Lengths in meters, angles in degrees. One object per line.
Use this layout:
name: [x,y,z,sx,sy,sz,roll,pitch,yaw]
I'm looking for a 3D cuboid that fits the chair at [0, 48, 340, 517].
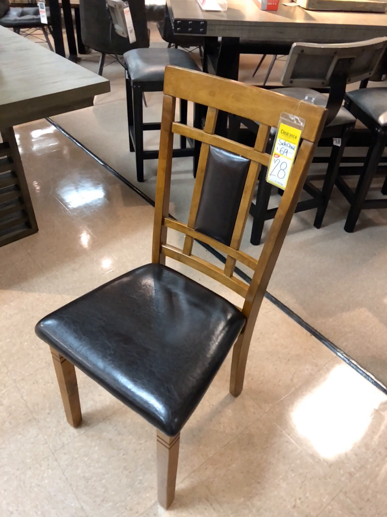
chair: [-0.070,0.098,1.073,0.451,0.993,0.502,27,46,26]
